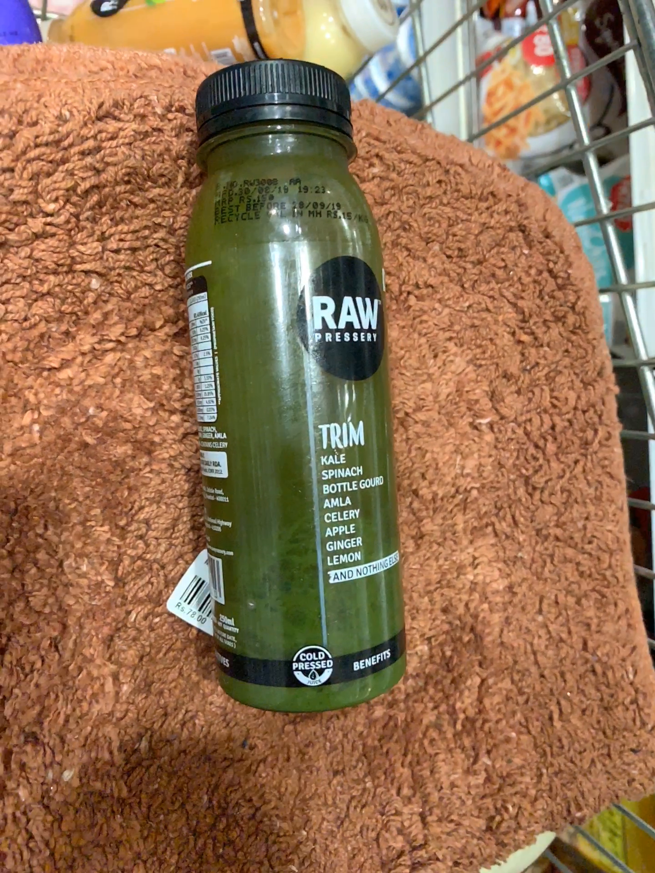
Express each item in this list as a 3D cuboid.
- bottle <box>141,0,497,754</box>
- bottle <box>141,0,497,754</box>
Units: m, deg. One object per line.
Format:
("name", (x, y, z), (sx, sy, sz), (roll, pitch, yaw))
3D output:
("bottle", (-0.002, -0.014, 0.170), (0.060, 0.050, 0.150), (-5, 91, -36))
("bottle", (-0.002, -0.014, 0.170), (0.060, 0.050, 0.150), (-5, 91, -36))
